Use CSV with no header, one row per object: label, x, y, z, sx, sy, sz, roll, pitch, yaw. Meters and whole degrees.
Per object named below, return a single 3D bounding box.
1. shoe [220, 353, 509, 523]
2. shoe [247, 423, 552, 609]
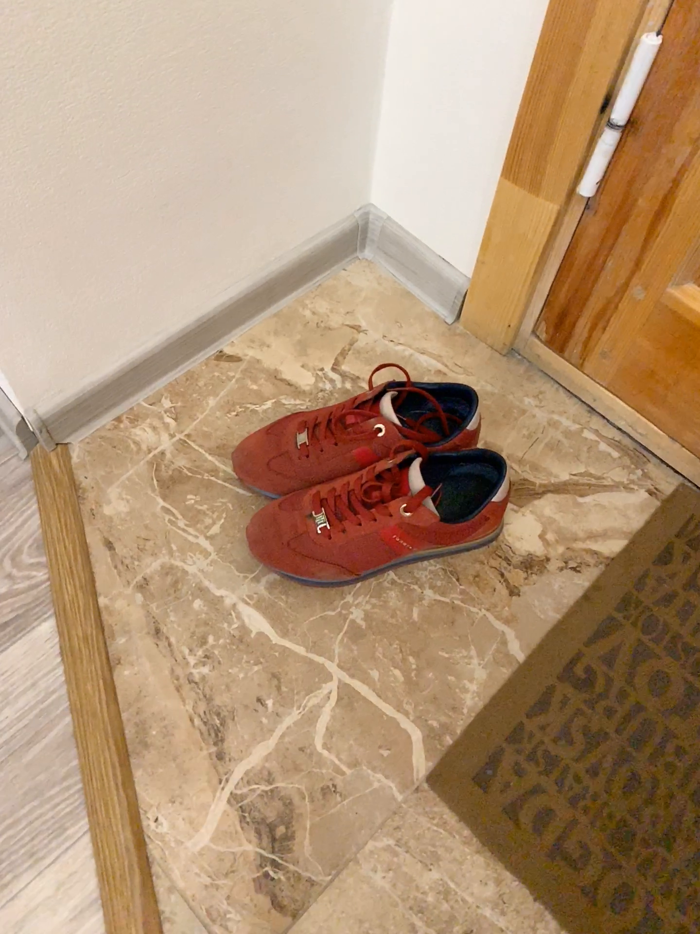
shoe,0.009,-0.028,0.667,0.240,0.090,0.090,-9,60,-10
shoe,0.038,0.042,0.634,0.240,0.090,0.090,-10,60,-11
